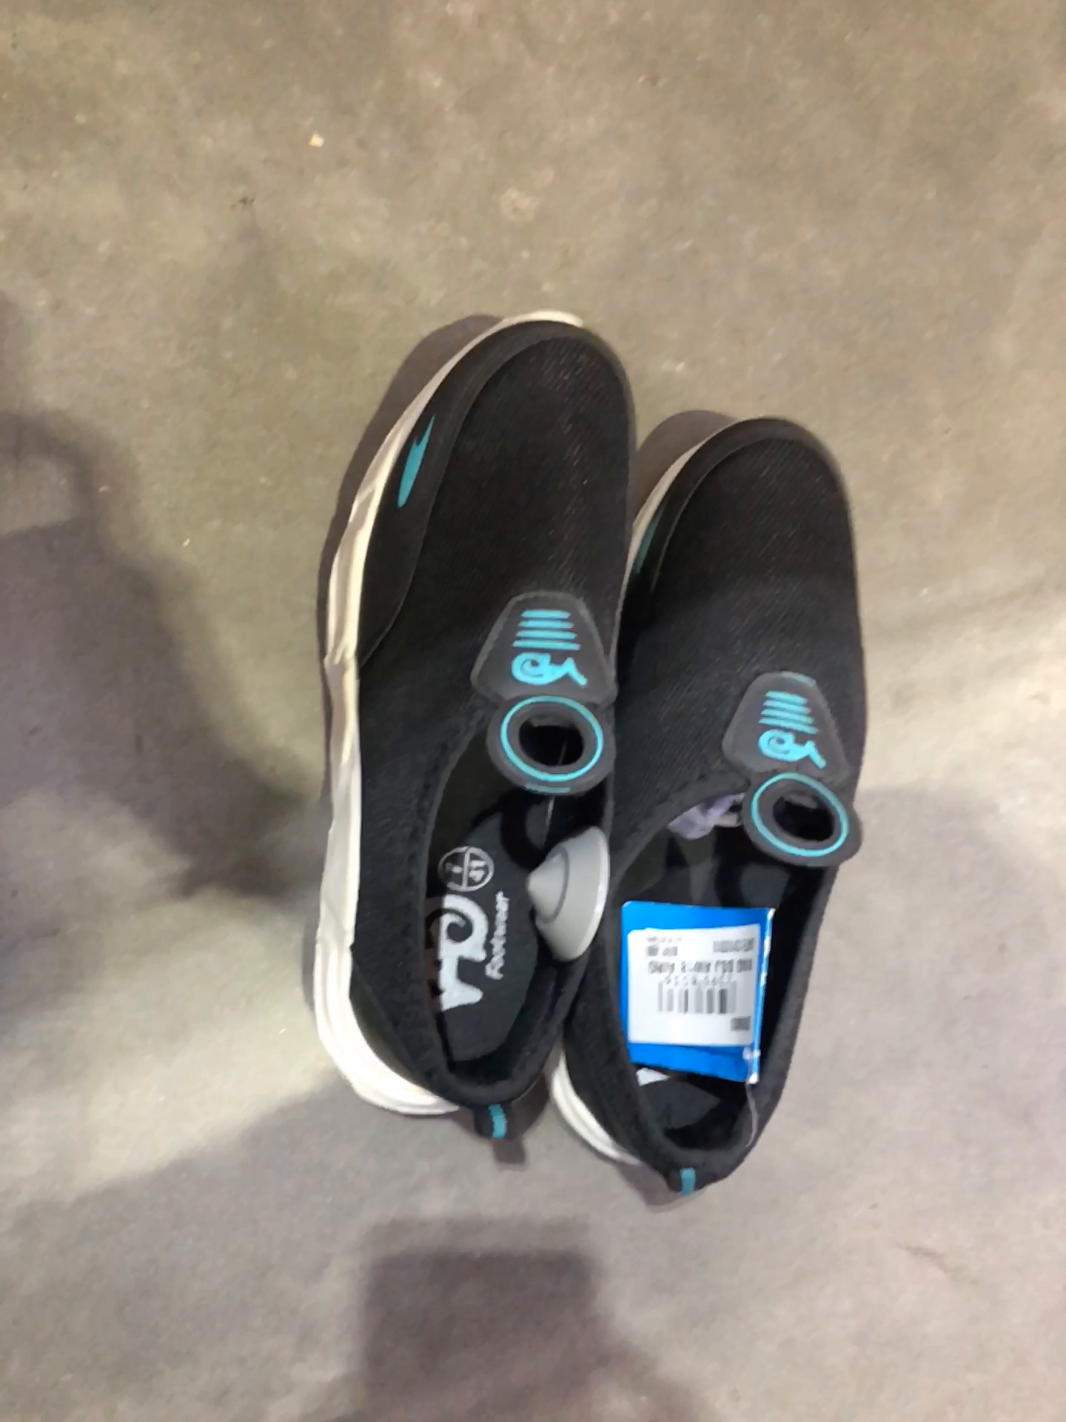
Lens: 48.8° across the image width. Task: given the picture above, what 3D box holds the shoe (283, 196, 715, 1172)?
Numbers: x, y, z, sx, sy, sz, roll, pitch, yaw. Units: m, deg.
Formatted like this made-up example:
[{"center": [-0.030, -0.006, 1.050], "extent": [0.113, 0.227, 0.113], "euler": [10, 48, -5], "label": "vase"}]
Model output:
[{"center": [-0.016, -0.006, 0.421], "extent": [0.110, 0.100, 0.300], "euler": [6, 84, -13], "label": "shoe"}]

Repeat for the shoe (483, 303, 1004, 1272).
[{"center": [0.074, 0.026, 0.433], "extent": [0.110, 0.100, 0.300], "euler": [13, 82, -12], "label": "shoe"}]
